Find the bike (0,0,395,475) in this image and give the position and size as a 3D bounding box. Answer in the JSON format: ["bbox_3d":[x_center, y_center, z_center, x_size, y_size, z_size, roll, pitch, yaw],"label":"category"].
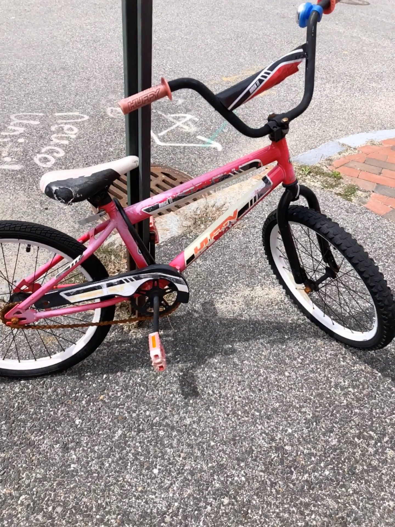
[{"bbox_3d":[-0.082,-0.082,0.933,1.176,0.887,0.700,-1,44,-6],"label":"bike"}]
